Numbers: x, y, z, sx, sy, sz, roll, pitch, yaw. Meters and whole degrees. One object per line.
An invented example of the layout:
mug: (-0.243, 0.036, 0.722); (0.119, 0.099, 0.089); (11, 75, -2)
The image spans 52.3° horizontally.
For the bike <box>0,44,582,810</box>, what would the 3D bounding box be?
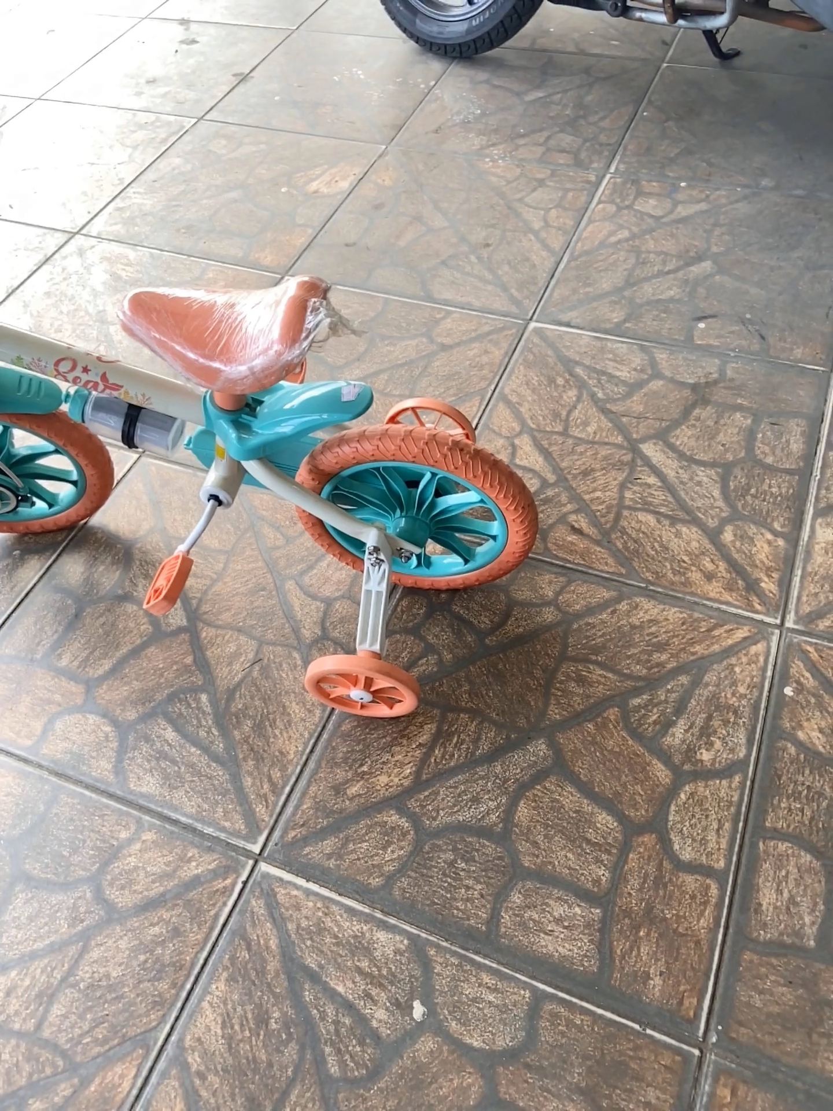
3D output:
bike: (-0.285, -0.123, 0.872); (0.806, 0.535, 0.500); (5, 54, 7)
